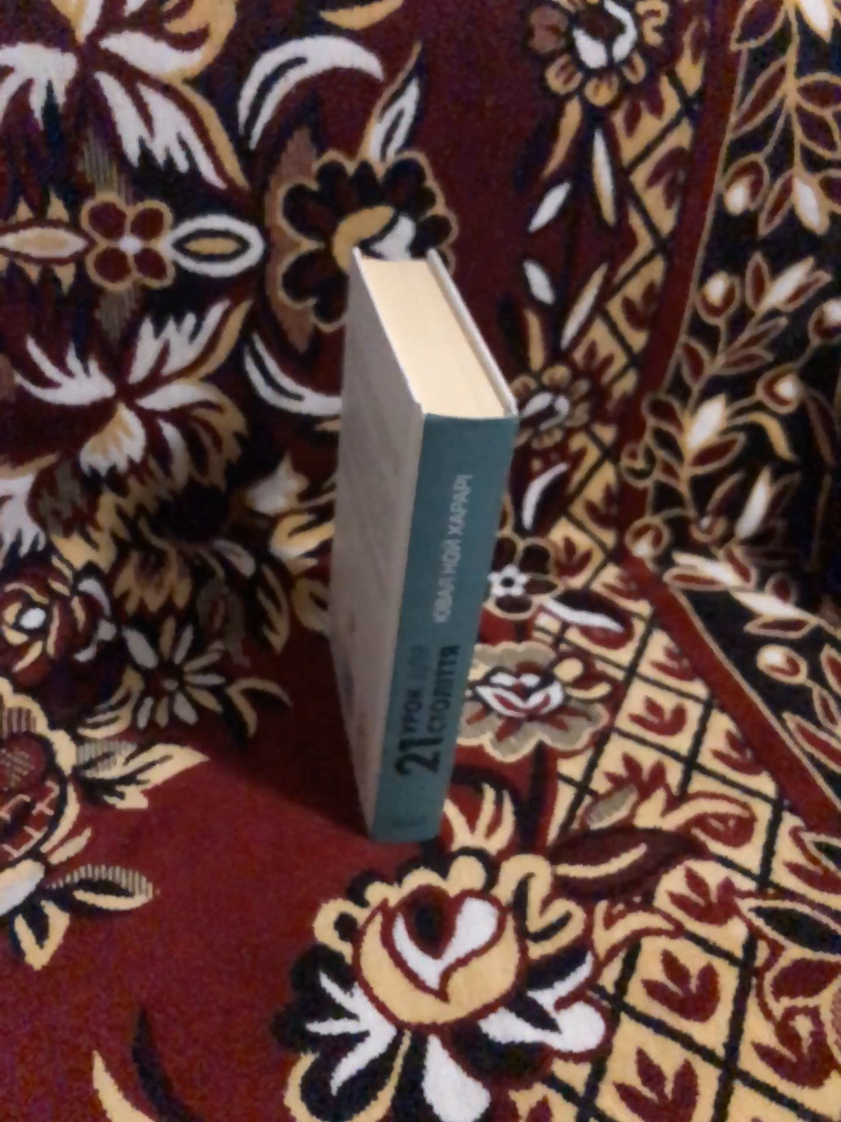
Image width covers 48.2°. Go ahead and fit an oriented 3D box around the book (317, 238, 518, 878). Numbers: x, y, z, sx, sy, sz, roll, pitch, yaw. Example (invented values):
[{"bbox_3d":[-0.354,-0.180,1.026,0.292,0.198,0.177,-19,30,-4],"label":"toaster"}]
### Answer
[{"bbox_3d":[-0.014,-0.002,0.389,0.040,0.211,0.154,-2,36,-11],"label":"book"}]
